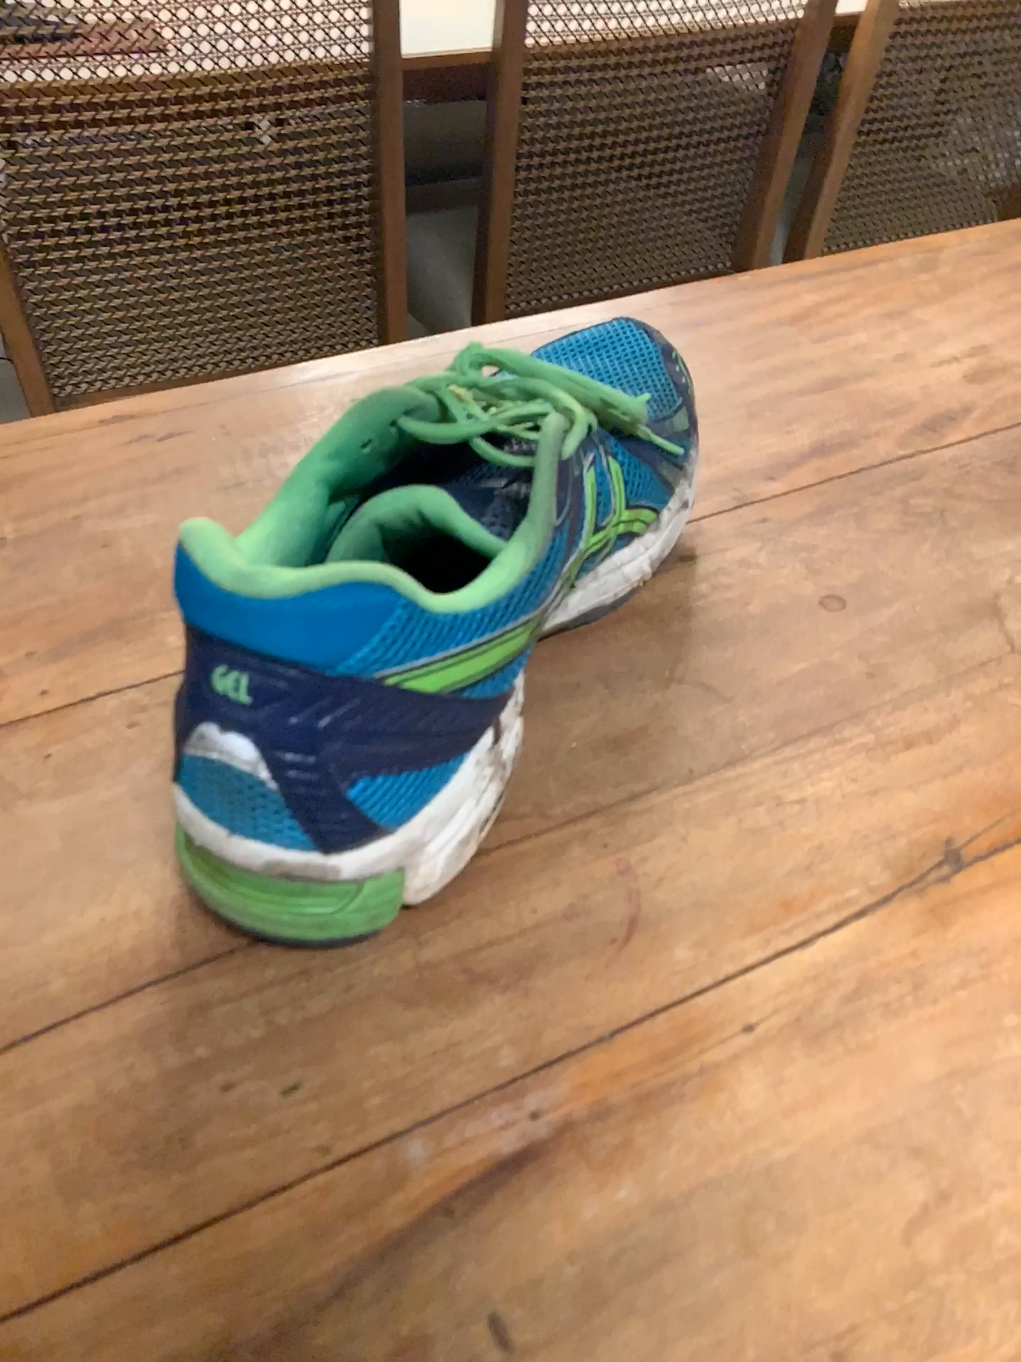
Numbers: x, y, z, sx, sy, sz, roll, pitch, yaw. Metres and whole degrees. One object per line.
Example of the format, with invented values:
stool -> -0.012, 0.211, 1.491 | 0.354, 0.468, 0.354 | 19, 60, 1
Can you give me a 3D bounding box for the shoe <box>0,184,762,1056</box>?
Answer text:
shoe -> -0.015, -0.053, 0.354 | 0.110, 0.119, 0.301 | 17, 45, 17
